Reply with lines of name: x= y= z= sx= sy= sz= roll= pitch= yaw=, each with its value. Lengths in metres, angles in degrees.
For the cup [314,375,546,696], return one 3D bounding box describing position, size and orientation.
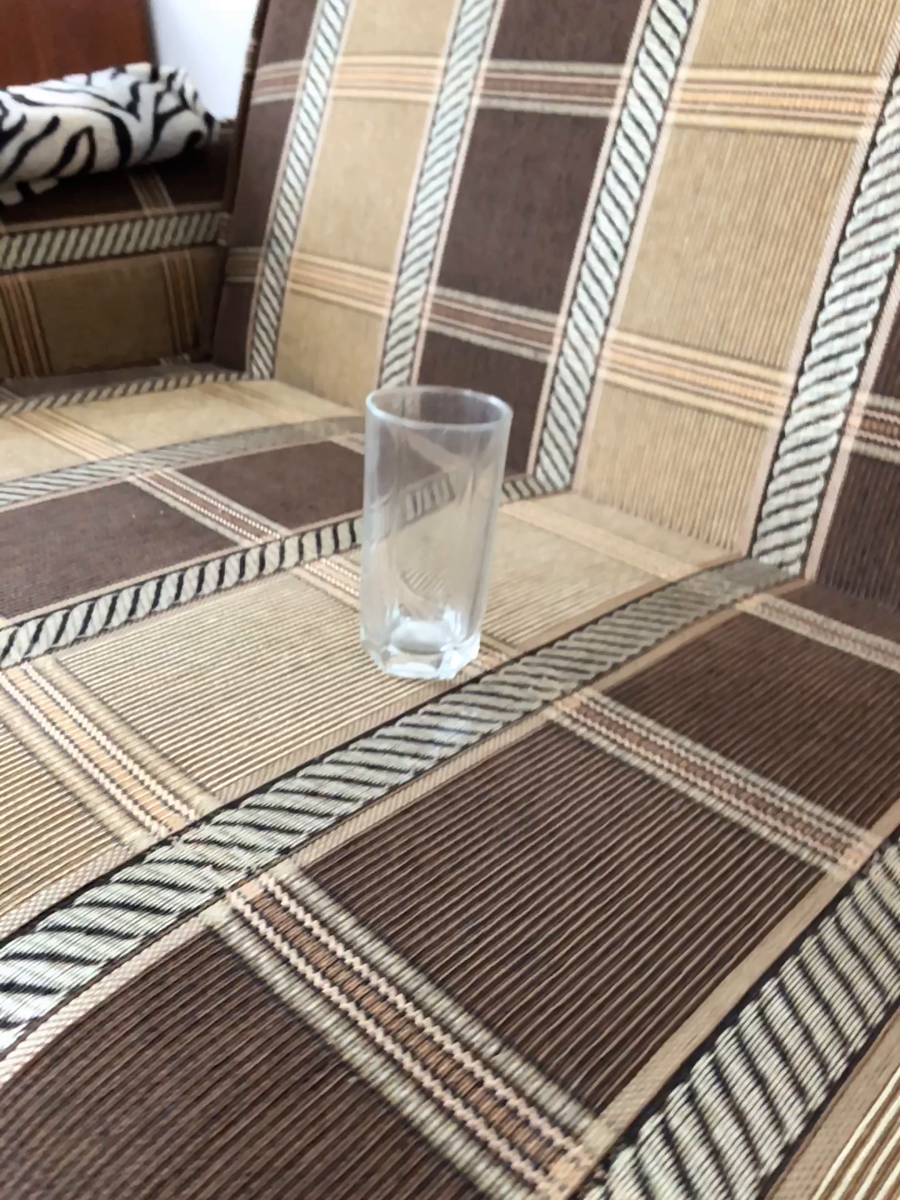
cup: x=-0.014 y=-0.035 z=0.493 sx=0.075 sy=0.130 sz=0.077 roll=5 pitch=25 yaw=-2
